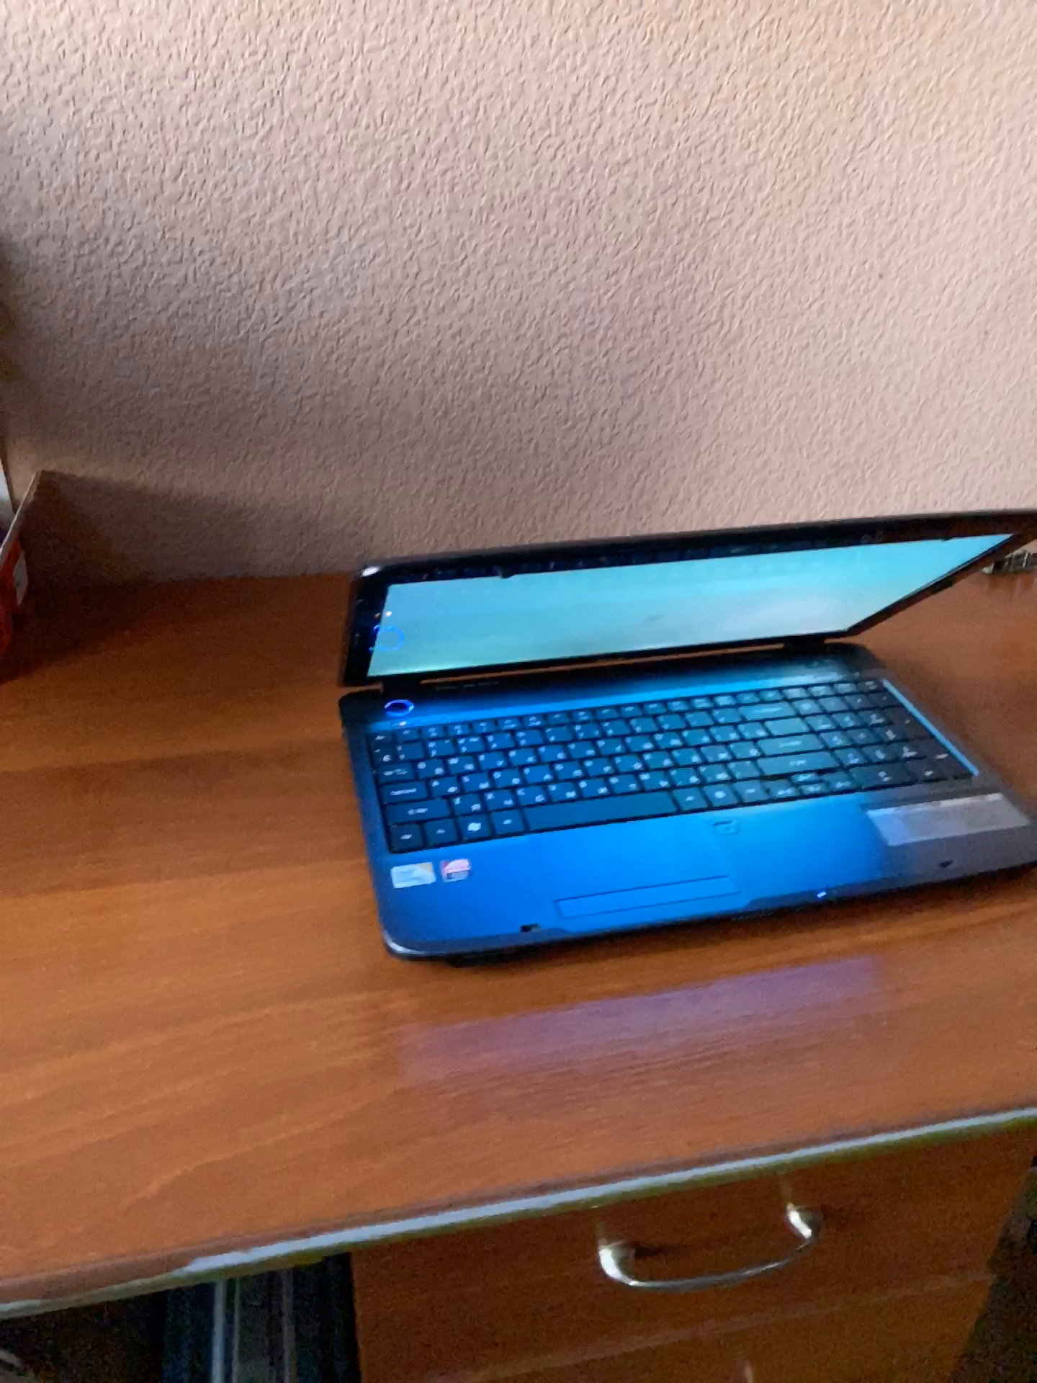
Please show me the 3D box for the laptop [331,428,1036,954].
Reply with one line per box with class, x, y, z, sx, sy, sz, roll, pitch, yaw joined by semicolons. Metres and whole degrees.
laptop;0.098;-0.025;0.616;0.380;0.162;0.241;-6;32;-12
